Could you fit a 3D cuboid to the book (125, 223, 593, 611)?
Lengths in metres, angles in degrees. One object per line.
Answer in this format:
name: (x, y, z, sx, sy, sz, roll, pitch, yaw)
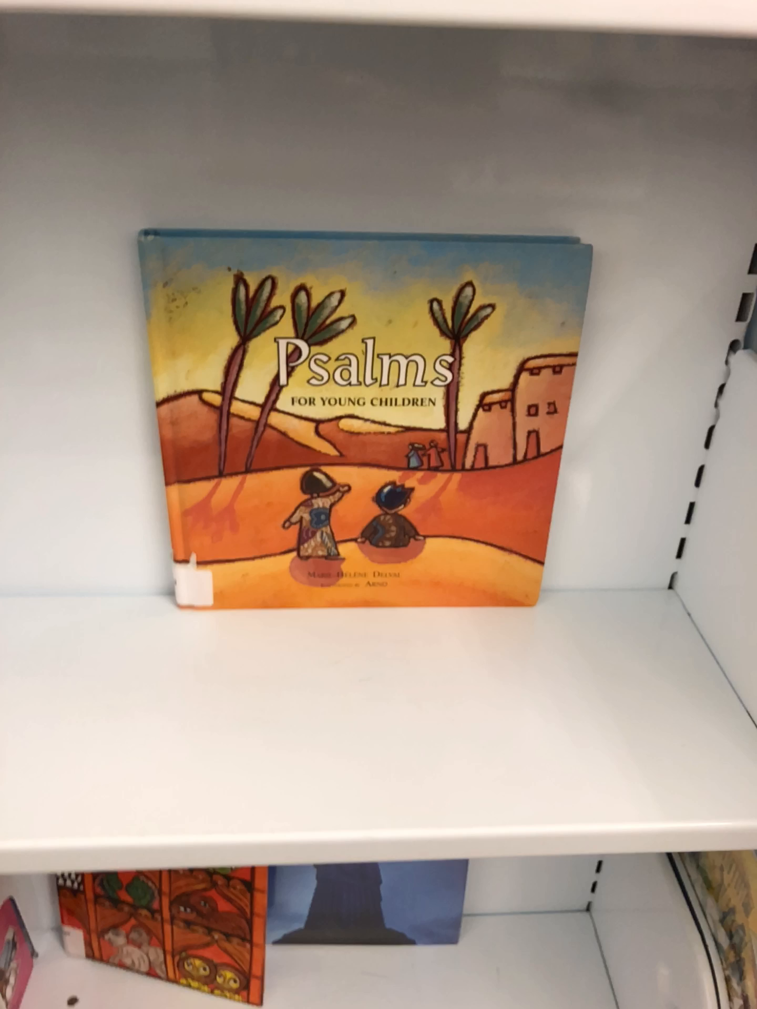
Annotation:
book: (-0.011, -0.036, 0.438, 0.212, 0.205, 0.021, 0, 29, -5)
